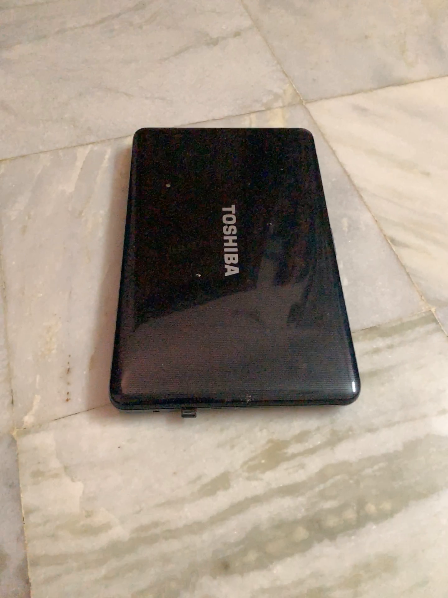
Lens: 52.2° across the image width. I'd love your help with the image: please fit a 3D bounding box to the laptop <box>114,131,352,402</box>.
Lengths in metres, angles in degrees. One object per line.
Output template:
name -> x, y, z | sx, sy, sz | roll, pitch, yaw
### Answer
laptop -> 0.003, -0.063, 0.514 | 0.222, 0.003, 0.356 | -1, 61, -4
